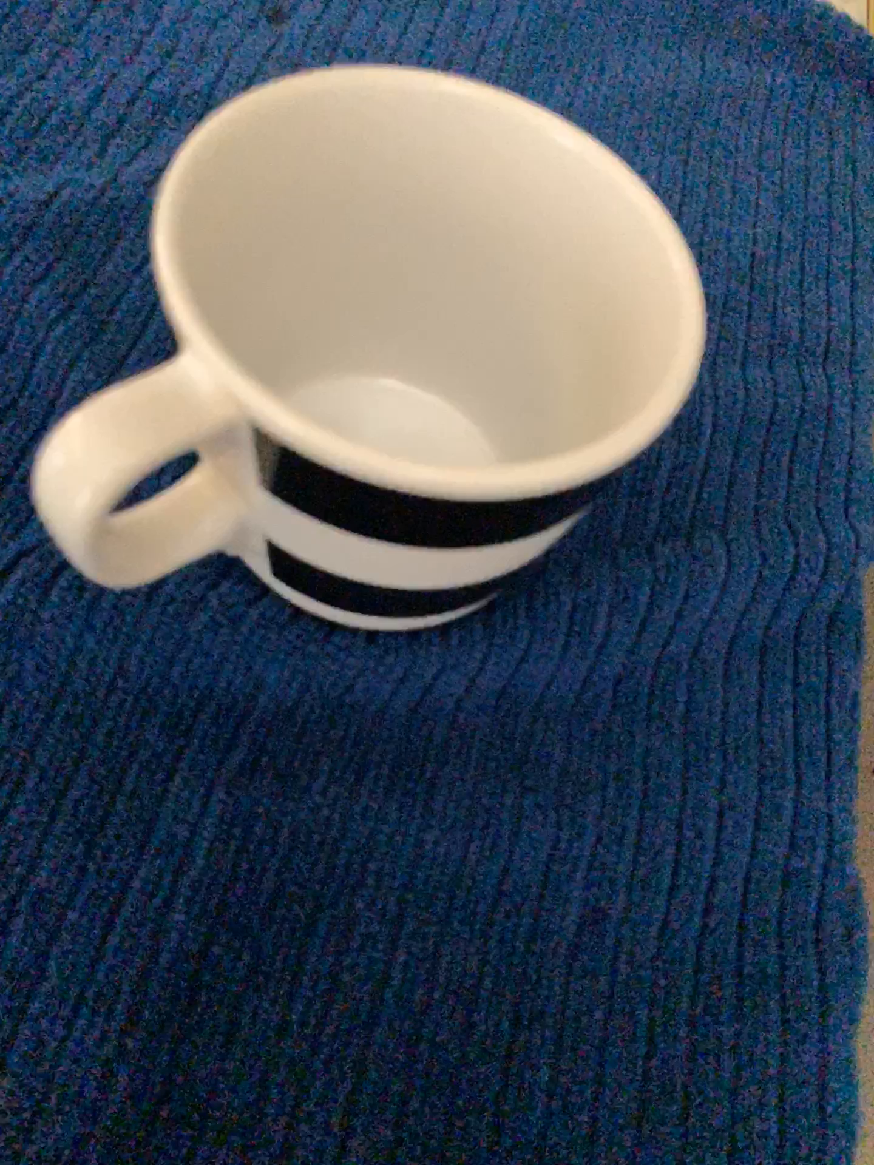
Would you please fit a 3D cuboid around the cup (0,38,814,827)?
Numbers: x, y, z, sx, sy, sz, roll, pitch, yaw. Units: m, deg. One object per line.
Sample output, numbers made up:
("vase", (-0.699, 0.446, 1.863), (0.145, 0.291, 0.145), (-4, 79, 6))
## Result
("cup", (-0.010, -0.033, 0.161), (0.113, 0.057, 0.085), (-36, 73, -28))
